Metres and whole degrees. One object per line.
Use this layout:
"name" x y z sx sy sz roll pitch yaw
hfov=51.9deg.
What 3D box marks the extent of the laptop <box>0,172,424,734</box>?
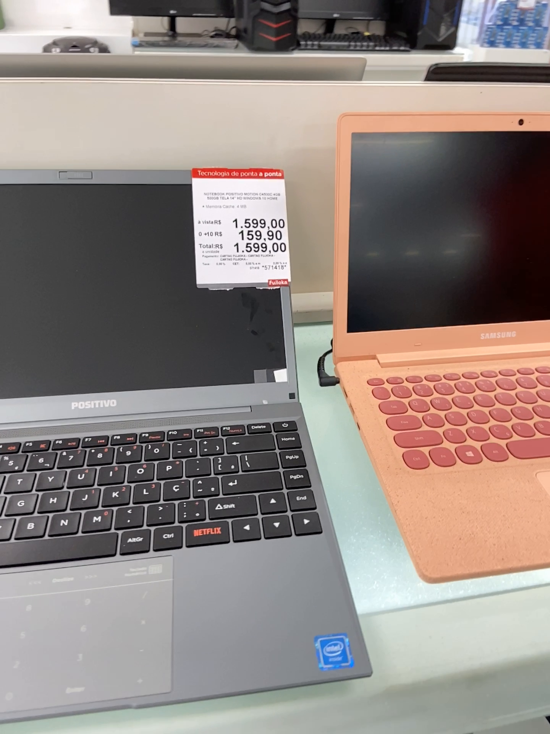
"laptop" -0.136 0.003 0.377 0.333 0.144 0.368 -3 37 -8
